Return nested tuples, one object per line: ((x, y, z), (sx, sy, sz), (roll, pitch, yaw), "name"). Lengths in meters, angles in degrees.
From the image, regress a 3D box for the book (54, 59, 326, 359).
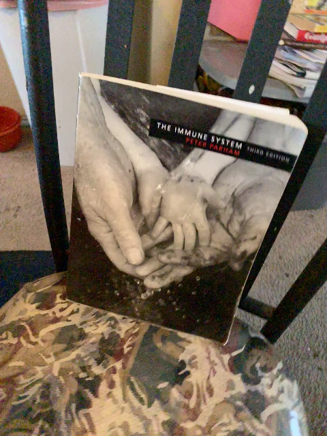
((-0.001, 0.004, 0.343), (0.220, 0.269, 0.040), (14, 28, 9), "book")
